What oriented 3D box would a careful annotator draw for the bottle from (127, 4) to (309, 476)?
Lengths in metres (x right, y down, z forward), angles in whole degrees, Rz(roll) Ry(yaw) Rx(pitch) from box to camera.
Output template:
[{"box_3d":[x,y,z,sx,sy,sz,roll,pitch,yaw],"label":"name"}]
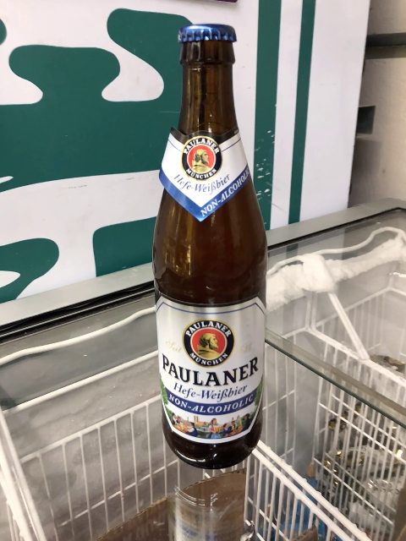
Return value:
[{"box_3d":[0.009,-0.003,0.246,0.070,0.238,0.060,1,23,5],"label":"bottle"}]
